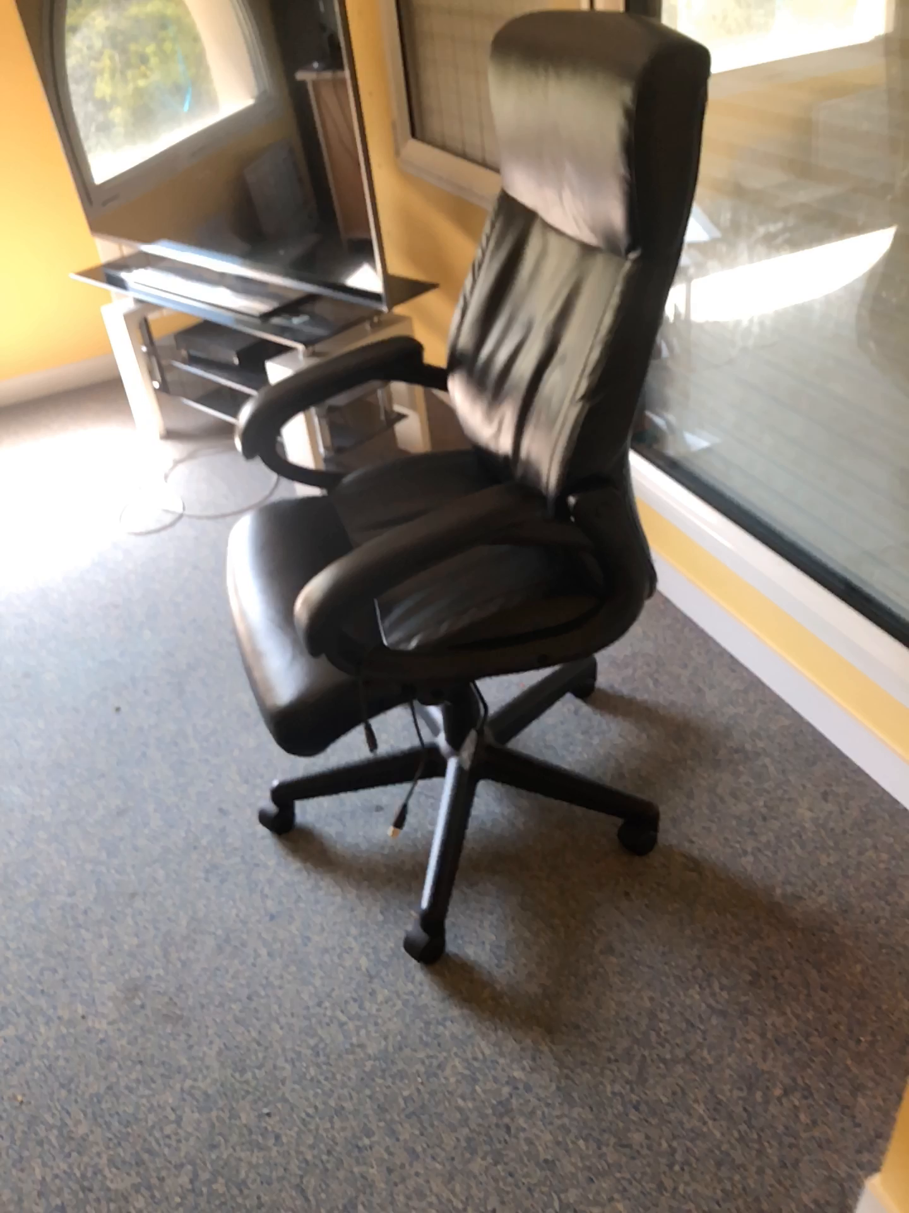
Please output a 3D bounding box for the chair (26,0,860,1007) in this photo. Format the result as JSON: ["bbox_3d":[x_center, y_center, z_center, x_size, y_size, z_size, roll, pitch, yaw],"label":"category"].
[{"bbox_3d":[-0.027,-0.166,1.429,0.751,1.113,0.663,-17,37,-13],"label":"chair"}]
